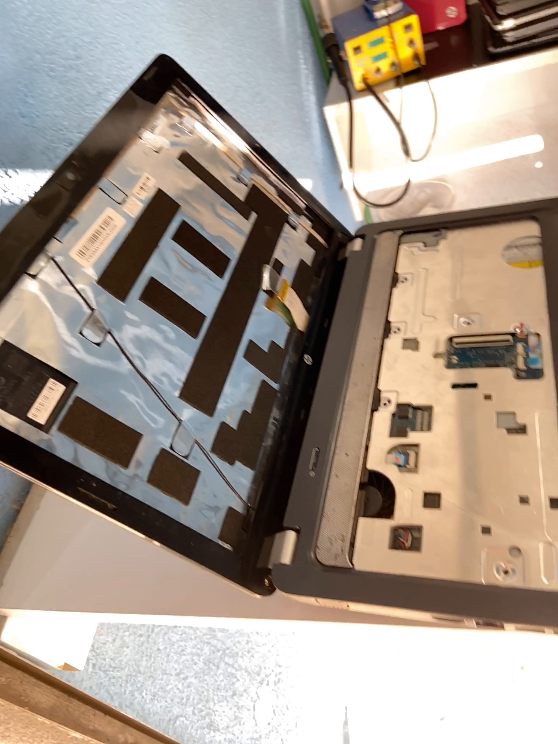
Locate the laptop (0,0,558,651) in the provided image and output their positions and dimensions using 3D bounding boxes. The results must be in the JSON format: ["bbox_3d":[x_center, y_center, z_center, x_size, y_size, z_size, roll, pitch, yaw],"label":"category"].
[{"bbox_3d":[0.050,-0.067,0.342,0.349,0.179,0.339,-2,47,22],"label":"laptop"}]
